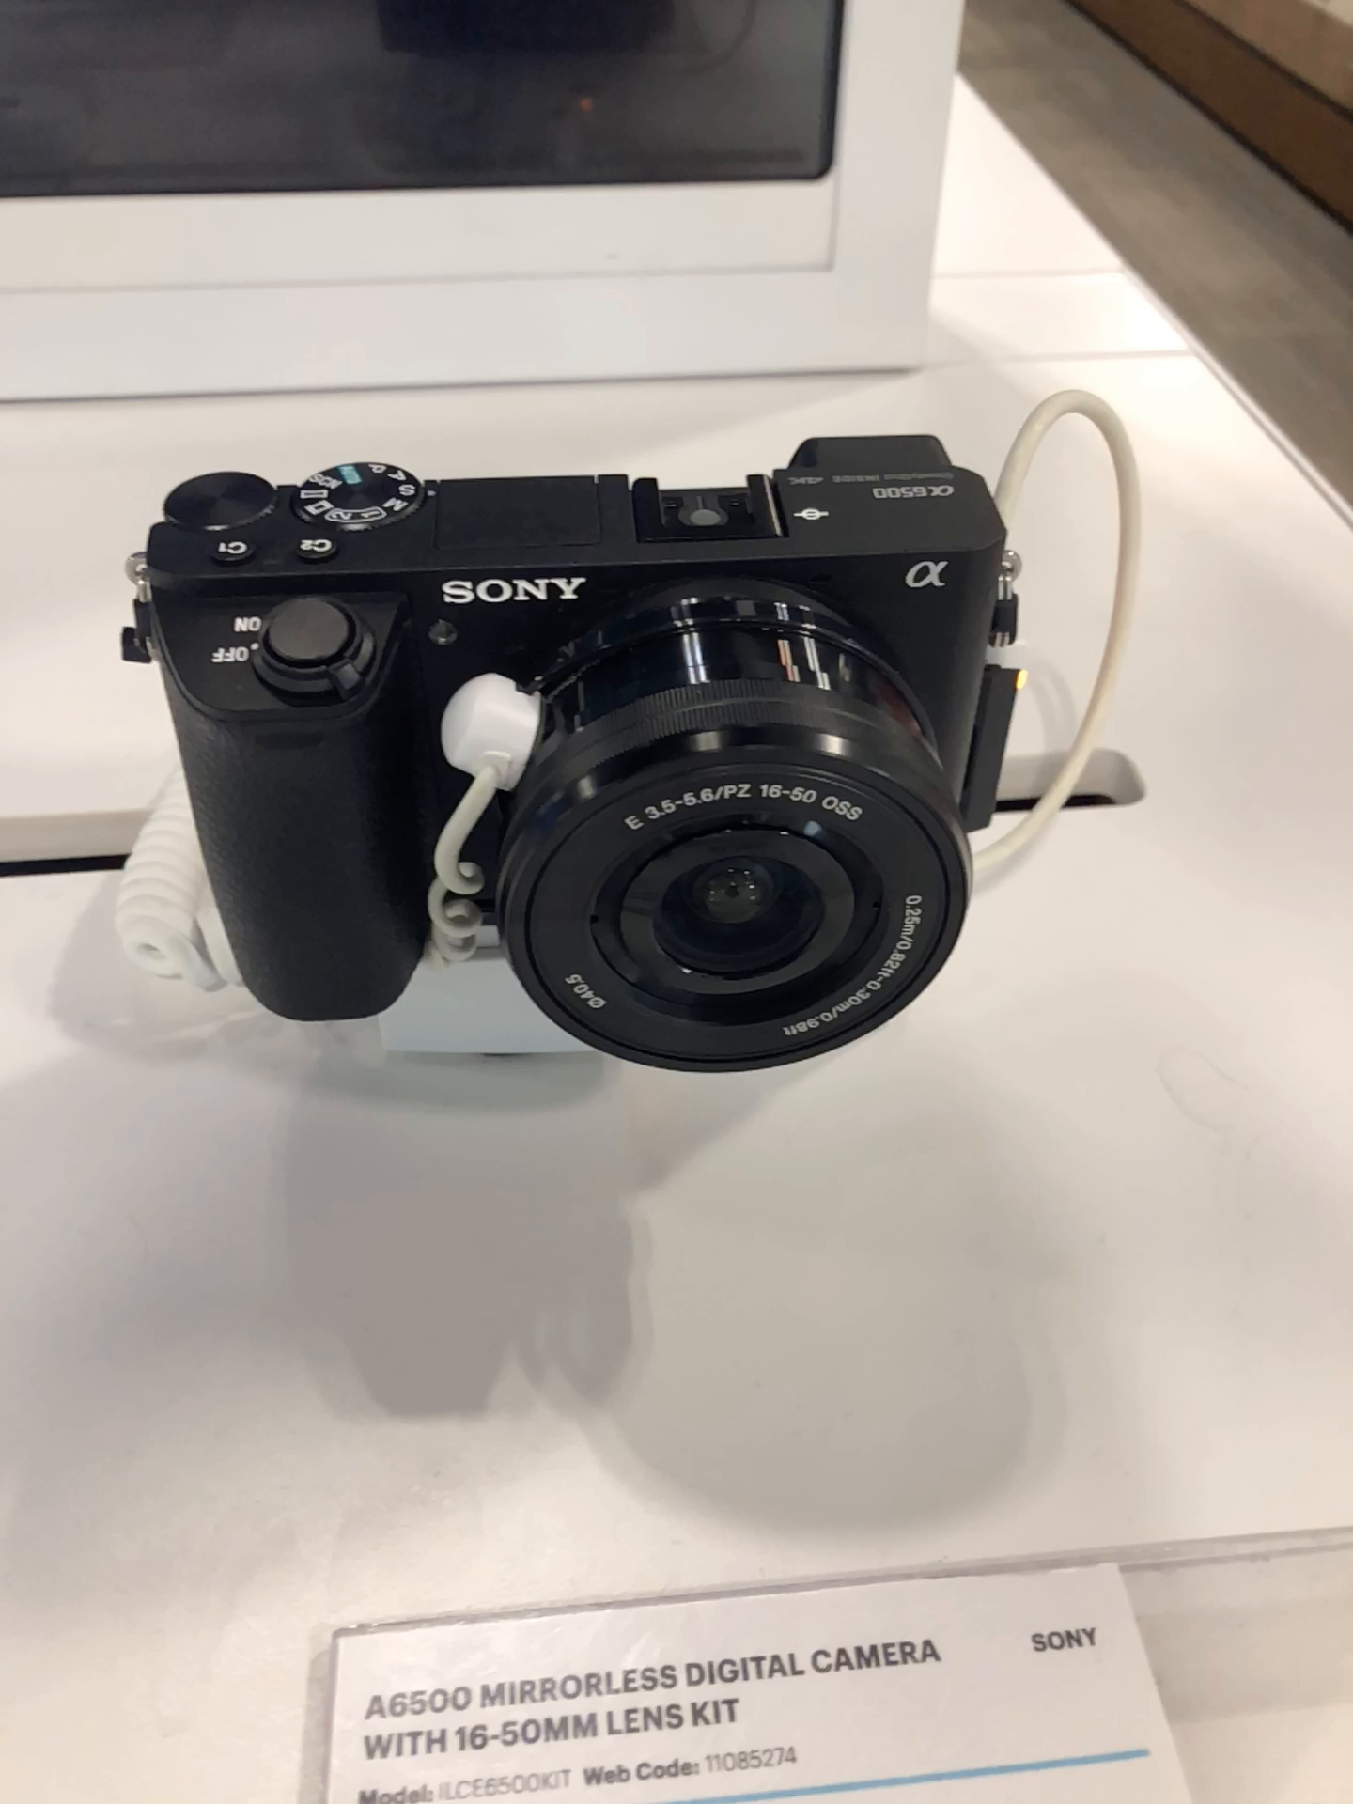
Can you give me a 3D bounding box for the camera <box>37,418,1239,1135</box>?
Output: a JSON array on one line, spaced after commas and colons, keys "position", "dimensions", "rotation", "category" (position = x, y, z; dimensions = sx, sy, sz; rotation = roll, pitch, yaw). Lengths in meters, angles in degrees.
[{"position": [-0.007, -0.021, 0.224], "dimensions": [0.140, 0.070, 0.070], "rotation": [-4, 42, -7], "category": "camera"}]
